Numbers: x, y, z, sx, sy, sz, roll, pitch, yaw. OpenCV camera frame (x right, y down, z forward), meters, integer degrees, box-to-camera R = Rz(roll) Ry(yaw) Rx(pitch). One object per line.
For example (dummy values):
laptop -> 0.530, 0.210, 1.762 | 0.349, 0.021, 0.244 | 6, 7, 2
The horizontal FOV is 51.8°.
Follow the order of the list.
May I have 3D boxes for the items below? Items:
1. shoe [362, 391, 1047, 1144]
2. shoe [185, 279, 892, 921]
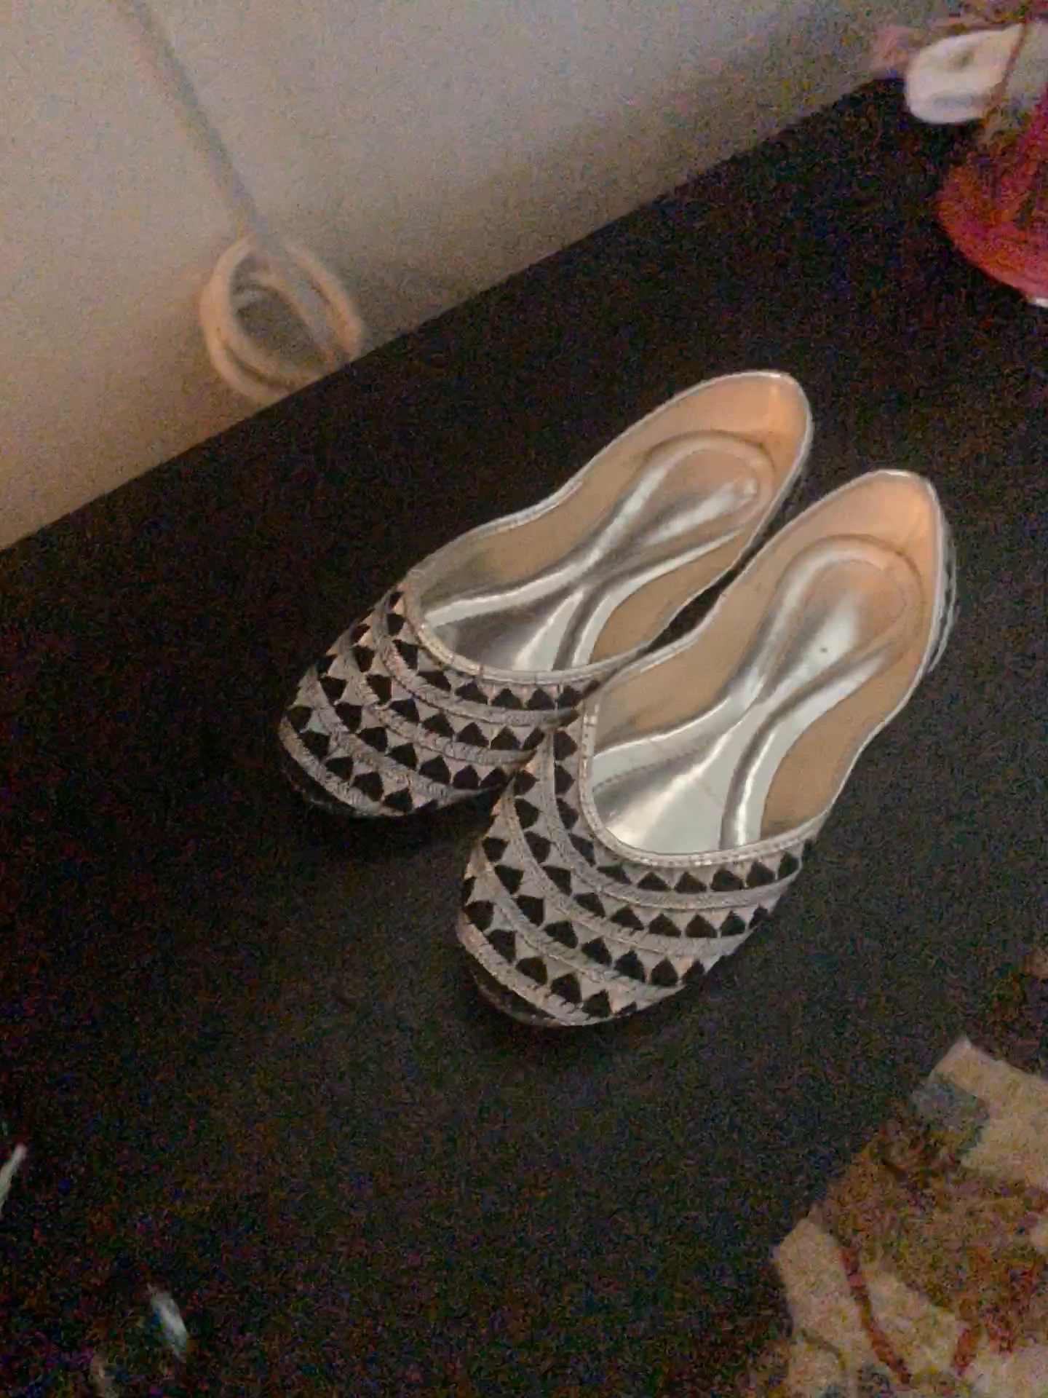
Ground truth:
shoe -> 0.078, 0.009, 0.380 | 0.095, 0.070, 0.271 | 38, 64, 19
shoe -> 0.017, -0.051, 0.417 | 0.095, 0.070, 0.271 | 40, 64, 20
